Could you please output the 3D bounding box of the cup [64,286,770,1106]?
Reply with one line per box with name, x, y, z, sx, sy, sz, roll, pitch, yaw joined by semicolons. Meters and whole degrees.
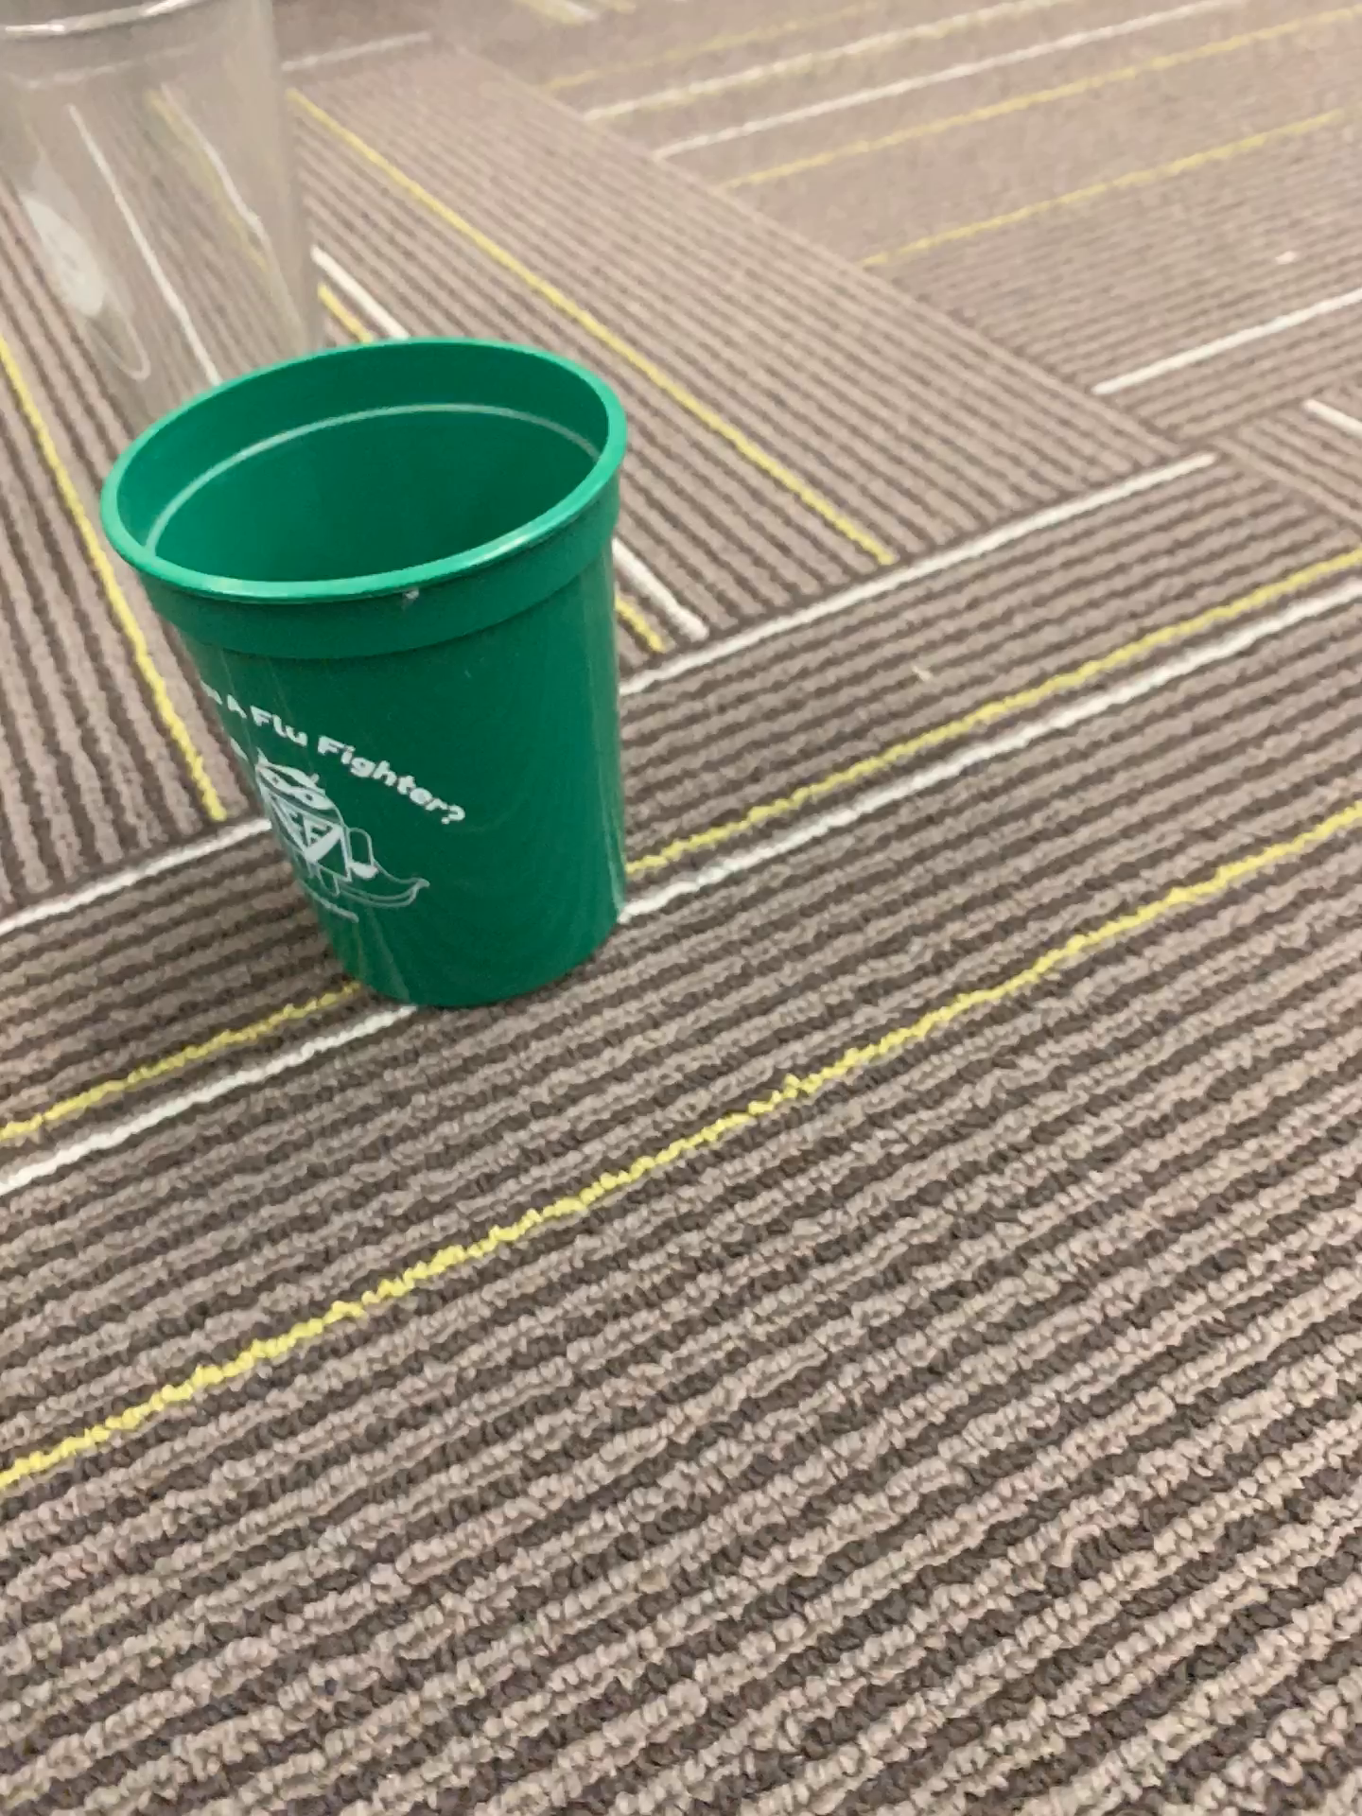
cup;-0.045;-0.044;0.291;0.090;0.119;0.080;29;55;31
